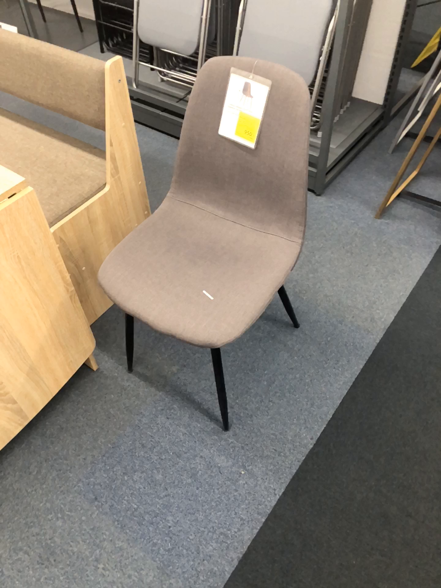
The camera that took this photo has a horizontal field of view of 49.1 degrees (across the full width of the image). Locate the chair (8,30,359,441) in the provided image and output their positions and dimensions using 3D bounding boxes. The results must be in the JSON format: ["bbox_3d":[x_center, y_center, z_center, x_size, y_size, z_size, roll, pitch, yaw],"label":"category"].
[{"bbox_3d":[-0.040,-0.126,1.274,0.480,0.807,0.541,26,55,23],"label":"chair"}]
